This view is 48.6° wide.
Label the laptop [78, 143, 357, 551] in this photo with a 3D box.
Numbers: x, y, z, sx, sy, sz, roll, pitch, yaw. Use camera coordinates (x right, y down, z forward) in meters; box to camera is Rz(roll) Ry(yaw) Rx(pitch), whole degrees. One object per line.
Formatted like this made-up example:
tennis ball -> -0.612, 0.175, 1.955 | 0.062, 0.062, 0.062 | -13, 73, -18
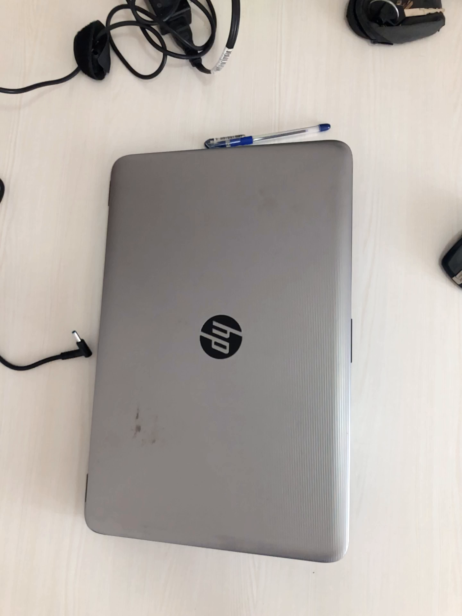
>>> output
laptop -> -0.006, 0.029, 0.481 | 0.226, 0.062, 0.356 | 2, 83, 0
